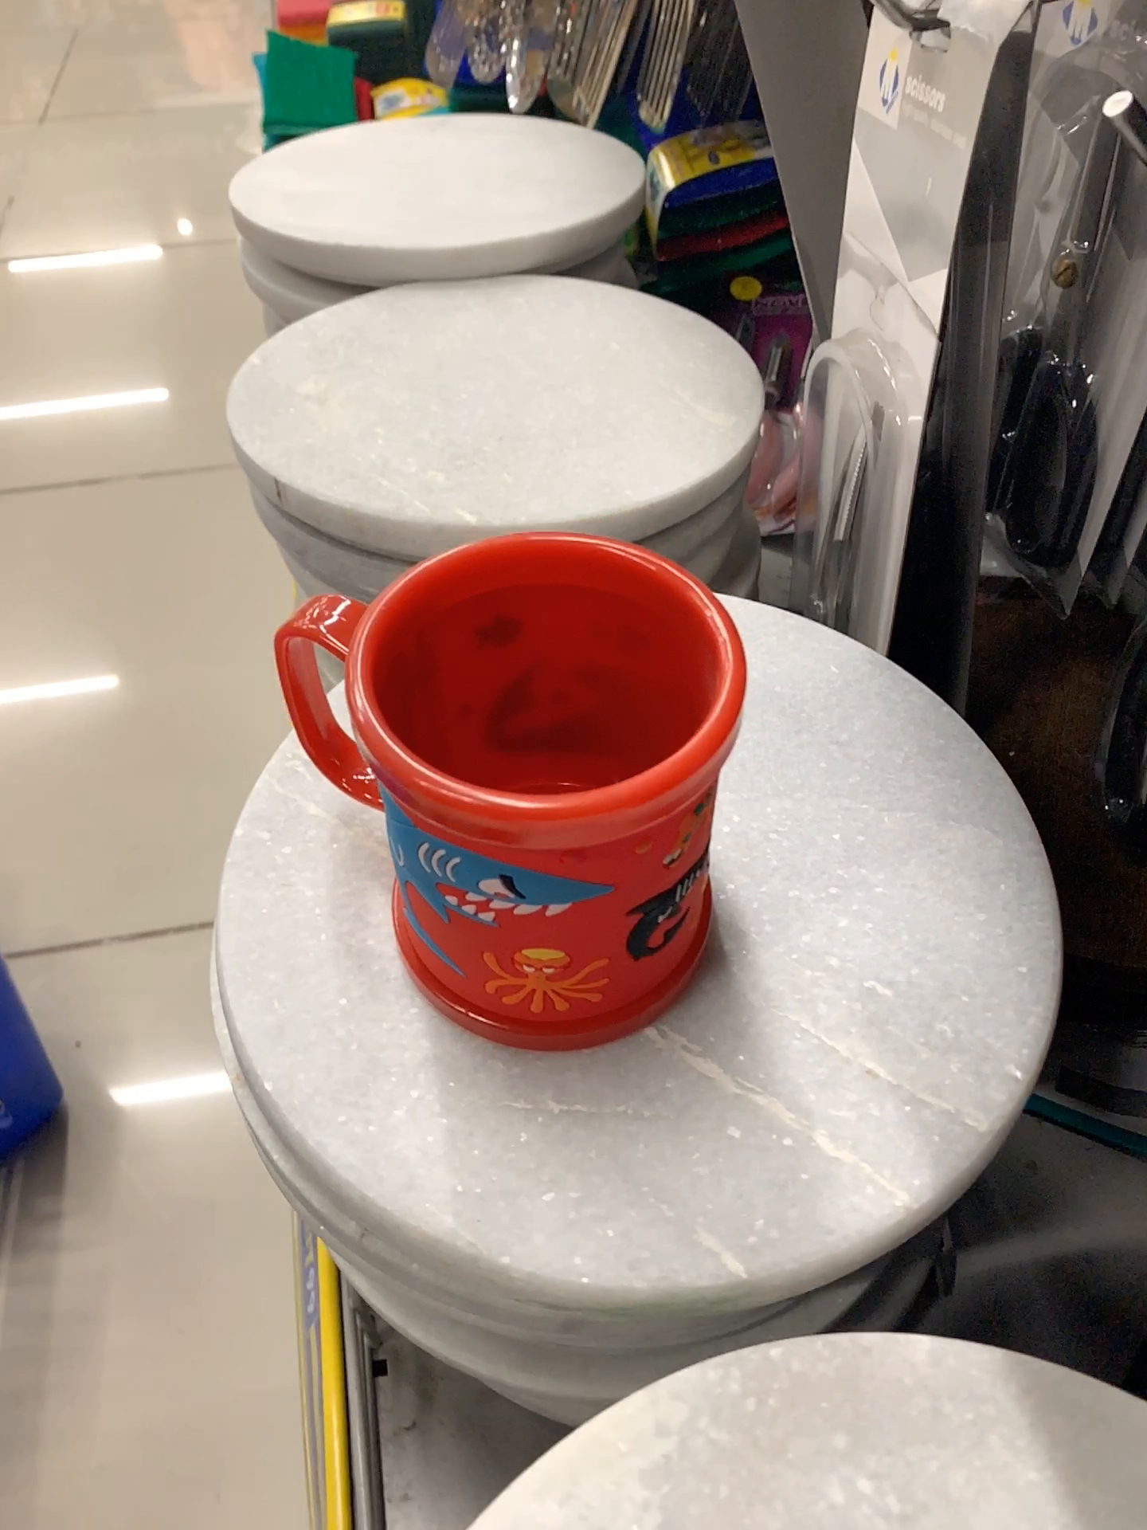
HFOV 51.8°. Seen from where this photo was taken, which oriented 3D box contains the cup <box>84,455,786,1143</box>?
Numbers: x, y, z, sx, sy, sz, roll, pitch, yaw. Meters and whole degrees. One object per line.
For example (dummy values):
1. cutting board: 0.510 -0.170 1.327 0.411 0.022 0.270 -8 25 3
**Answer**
1. cup: -0.027 0.005 0.278 0.120 0.100 0.080 22 50 21
